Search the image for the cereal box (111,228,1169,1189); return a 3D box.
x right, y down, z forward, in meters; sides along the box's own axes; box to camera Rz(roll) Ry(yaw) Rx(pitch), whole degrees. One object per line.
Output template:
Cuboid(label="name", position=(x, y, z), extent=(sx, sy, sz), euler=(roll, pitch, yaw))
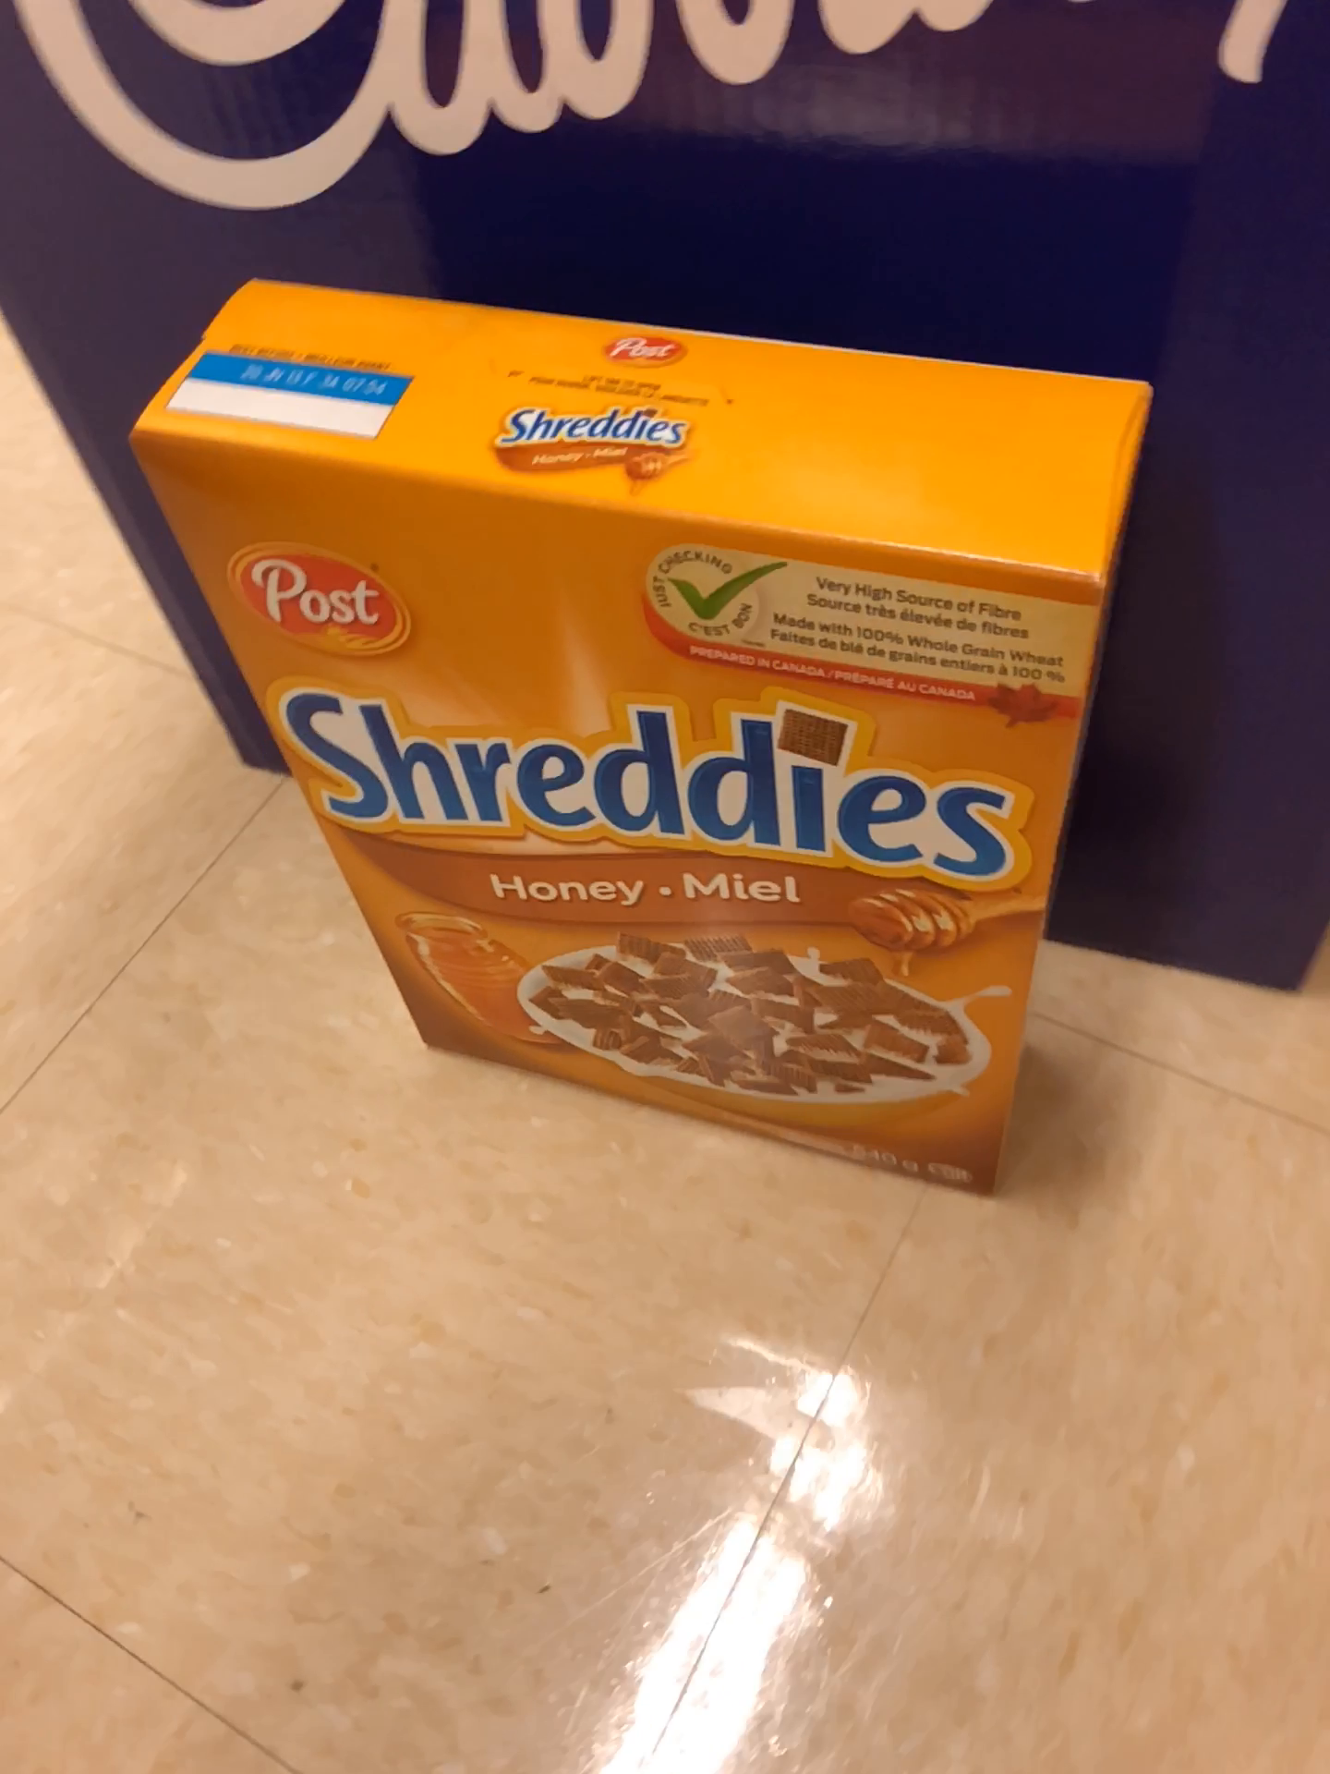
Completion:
Cuboid(label="cereal box", position=(0.006, -0.029, 0.417), extent=(0.210, 0.278, 0.070), euler=(12, 58, 16))
